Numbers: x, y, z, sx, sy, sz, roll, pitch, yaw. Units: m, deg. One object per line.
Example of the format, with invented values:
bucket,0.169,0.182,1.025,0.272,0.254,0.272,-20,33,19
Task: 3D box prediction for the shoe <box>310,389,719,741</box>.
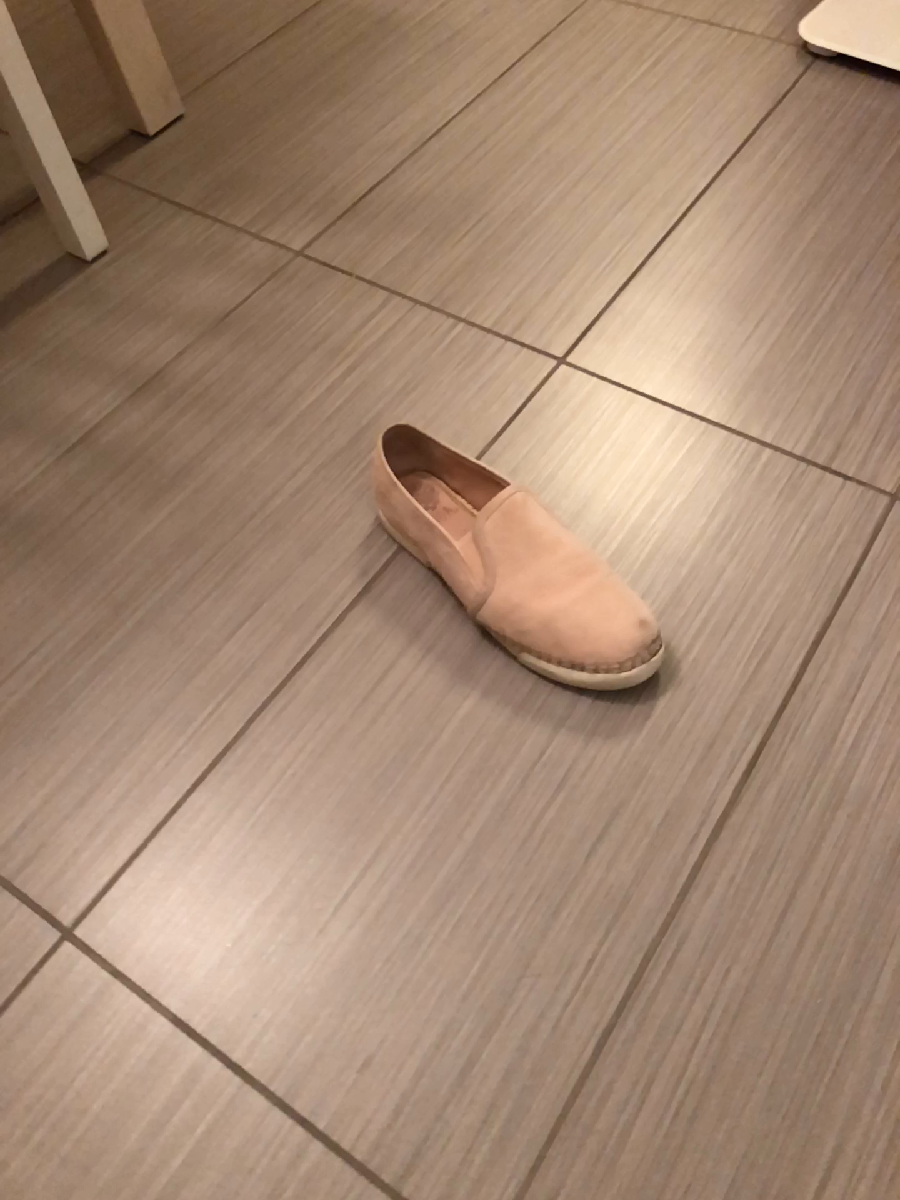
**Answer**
shoe,0.039,-0.034,0.702,0.270,0.070,0.110,36,64,25
